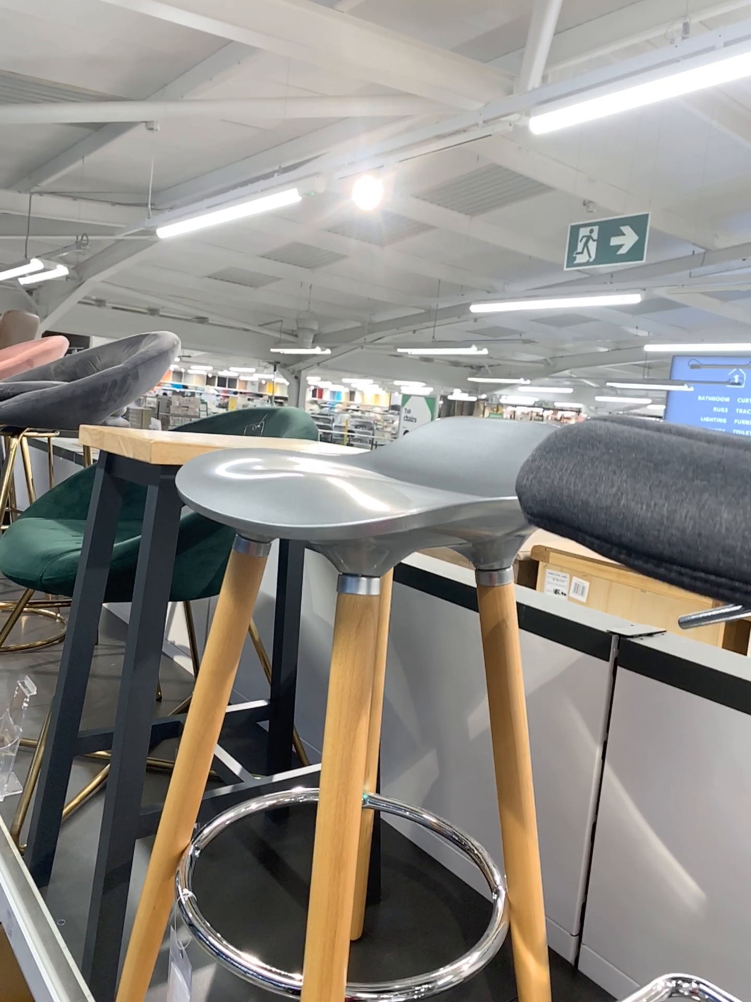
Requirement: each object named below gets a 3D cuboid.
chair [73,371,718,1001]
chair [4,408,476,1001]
[{"bbox_3d":[-0.006,0.259,0.847,0.461,0.738,0.443,2,7,-38],"label":"chair"},{"bbox_3d":[-0.220,0.238,1.174,0.501,0.689,0.443,1,7,-39],"label":"chair"}]
